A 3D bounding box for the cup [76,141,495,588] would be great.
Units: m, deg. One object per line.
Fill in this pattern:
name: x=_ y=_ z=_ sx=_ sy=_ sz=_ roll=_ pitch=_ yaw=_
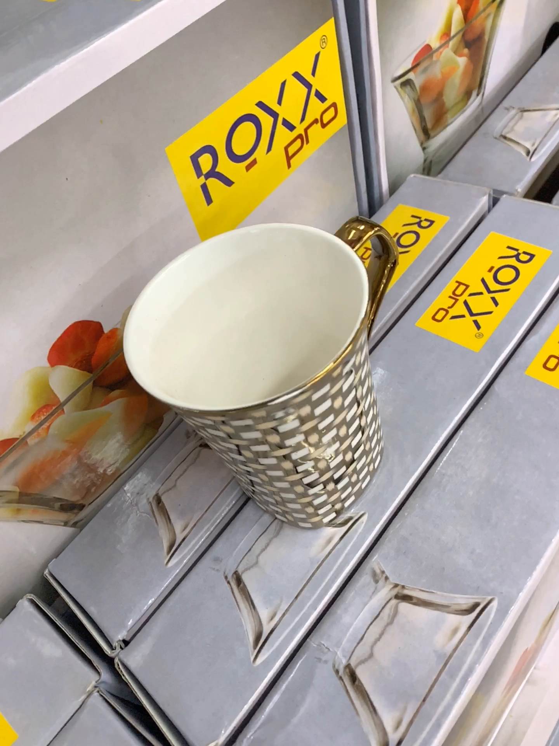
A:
cup: x=0.012 y=-0.007 z=0.210 sx=0.080 sy=0.089 sz=0.110 roll=24 pitch=61 yaw=30
